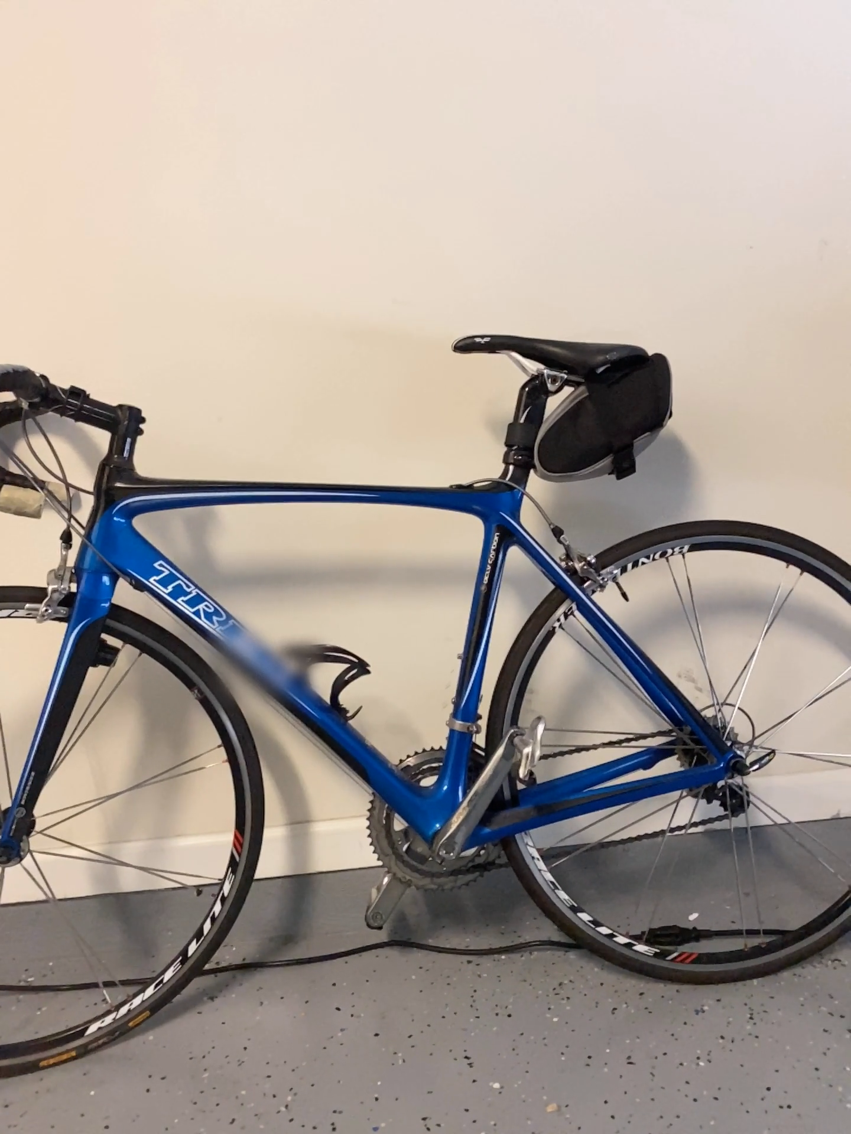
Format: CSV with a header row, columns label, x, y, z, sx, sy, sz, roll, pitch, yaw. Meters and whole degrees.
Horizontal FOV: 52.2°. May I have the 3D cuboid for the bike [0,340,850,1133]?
label,x,y,z,sx,sy,sz,roll,pitch,yaw
bike,0.016,0.231,1.125,1.638,0.884,0.401,-2,7,-15
